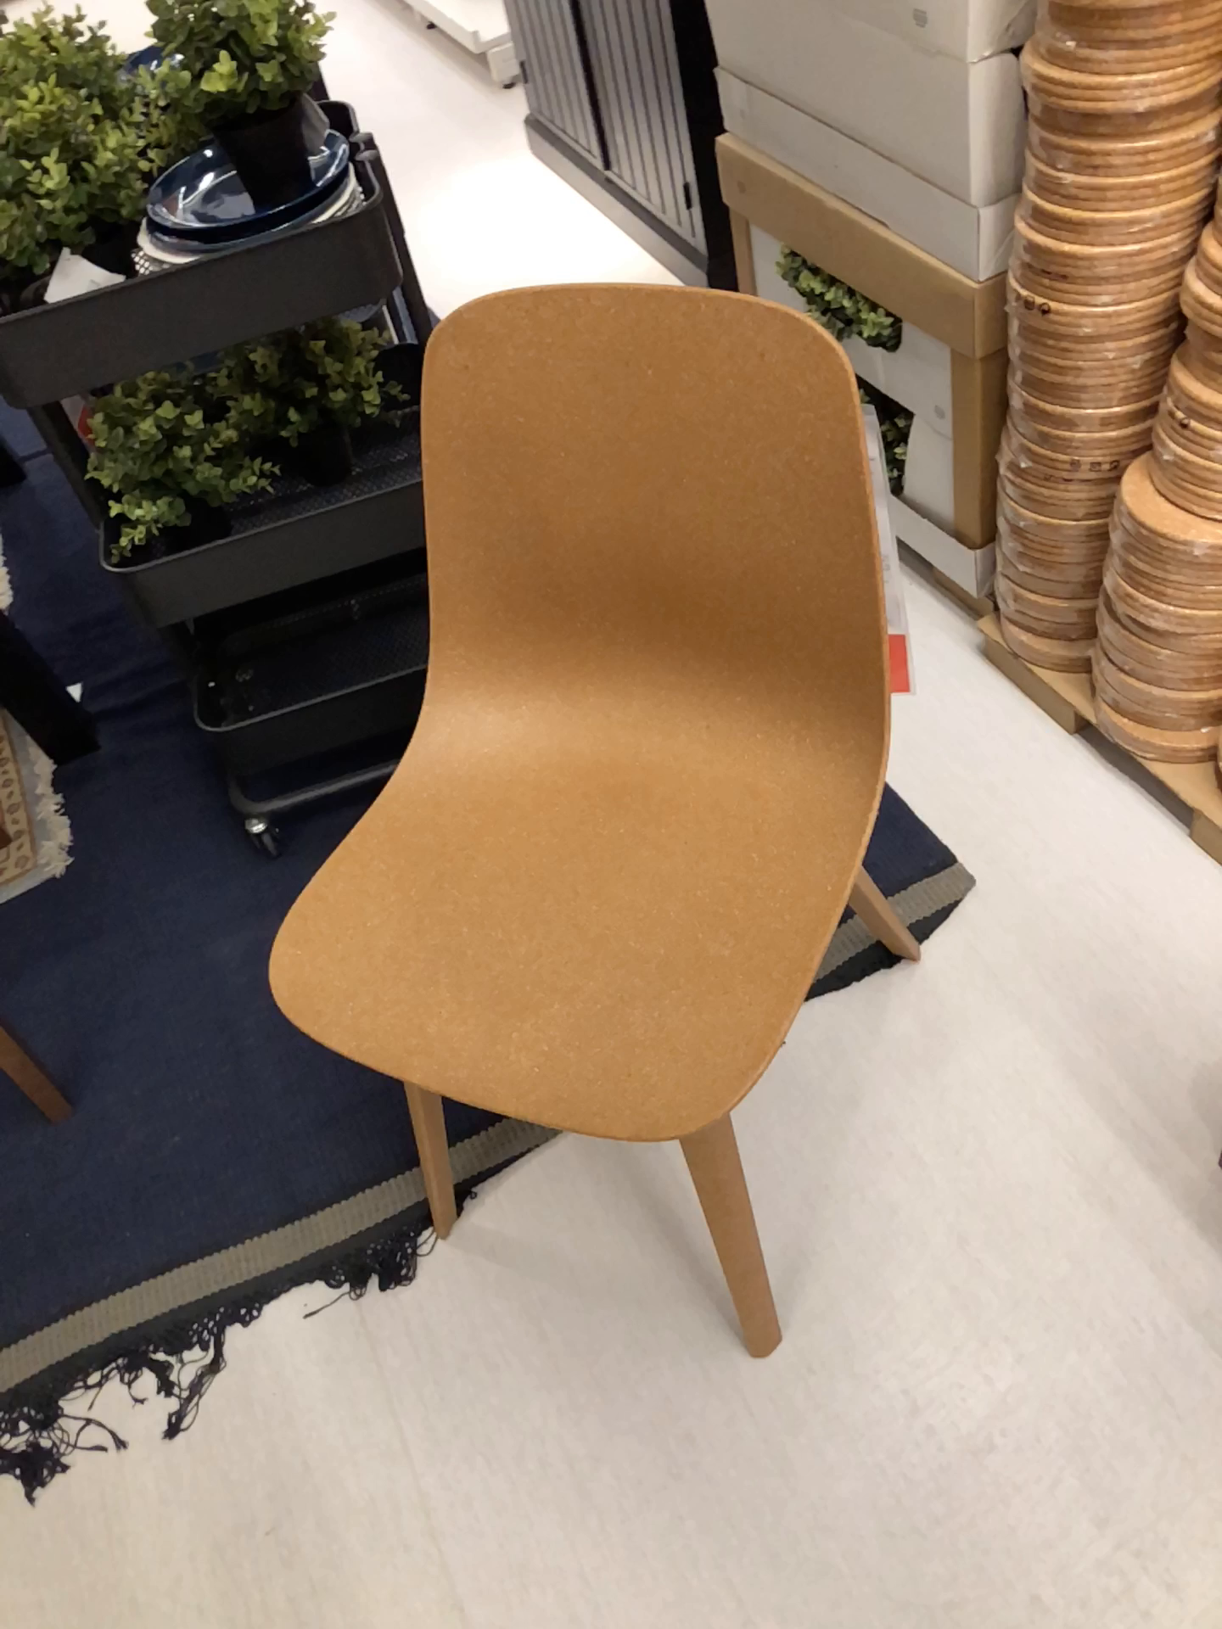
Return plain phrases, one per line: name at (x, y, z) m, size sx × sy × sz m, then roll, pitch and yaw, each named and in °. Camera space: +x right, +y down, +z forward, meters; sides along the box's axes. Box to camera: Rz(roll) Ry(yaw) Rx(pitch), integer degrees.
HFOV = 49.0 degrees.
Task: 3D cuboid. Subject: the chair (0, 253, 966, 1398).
chair at (0.008, 0.026, 1.137) m, size 0.441 × 0.745 × 0.552 m, roll 12°, pitch 54°, yaw 24°
